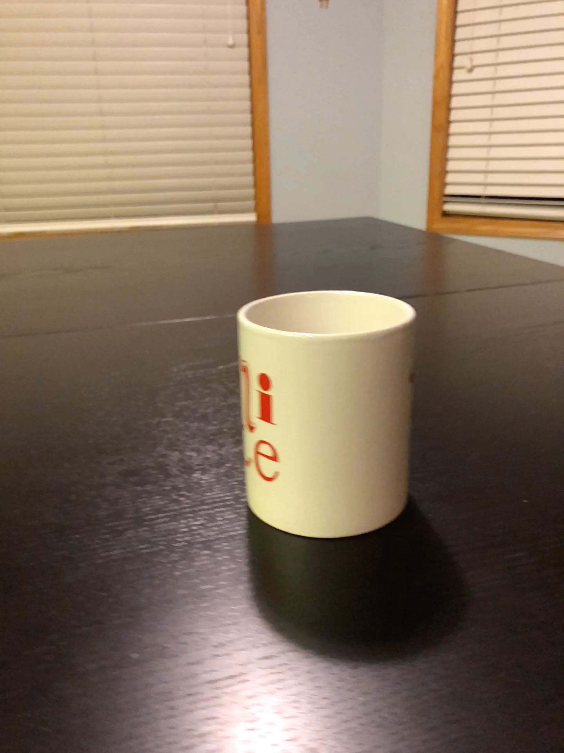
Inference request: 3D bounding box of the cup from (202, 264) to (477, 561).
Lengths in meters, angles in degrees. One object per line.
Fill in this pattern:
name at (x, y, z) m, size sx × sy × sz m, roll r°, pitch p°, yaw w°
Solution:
cup at (0.018, 0.007, 0.315) m, size 0.100 × 0.100 × 0.120 m, roll -5°, pitch 20°, yaw -10°
